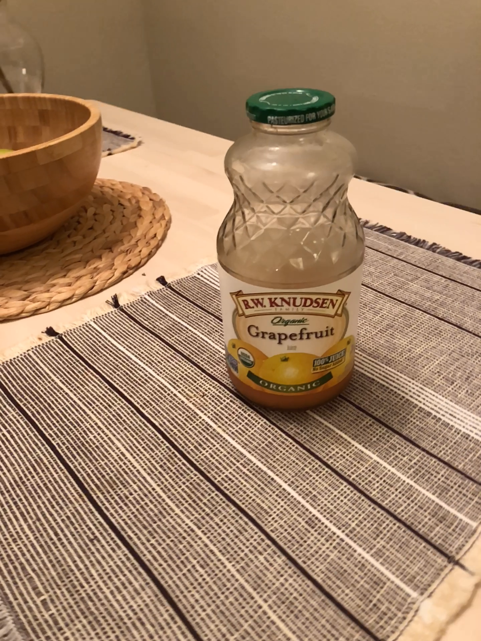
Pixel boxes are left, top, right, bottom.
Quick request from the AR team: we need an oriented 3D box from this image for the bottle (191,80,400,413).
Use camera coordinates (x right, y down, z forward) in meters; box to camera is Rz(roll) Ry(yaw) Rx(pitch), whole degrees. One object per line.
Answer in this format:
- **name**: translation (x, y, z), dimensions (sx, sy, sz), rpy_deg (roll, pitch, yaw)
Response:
- **bottle**: translation (0.032, -0.044, 0.348), dimensions (0.100, 0.189, 0.101), rpy_deg (-2, 34, 2)
